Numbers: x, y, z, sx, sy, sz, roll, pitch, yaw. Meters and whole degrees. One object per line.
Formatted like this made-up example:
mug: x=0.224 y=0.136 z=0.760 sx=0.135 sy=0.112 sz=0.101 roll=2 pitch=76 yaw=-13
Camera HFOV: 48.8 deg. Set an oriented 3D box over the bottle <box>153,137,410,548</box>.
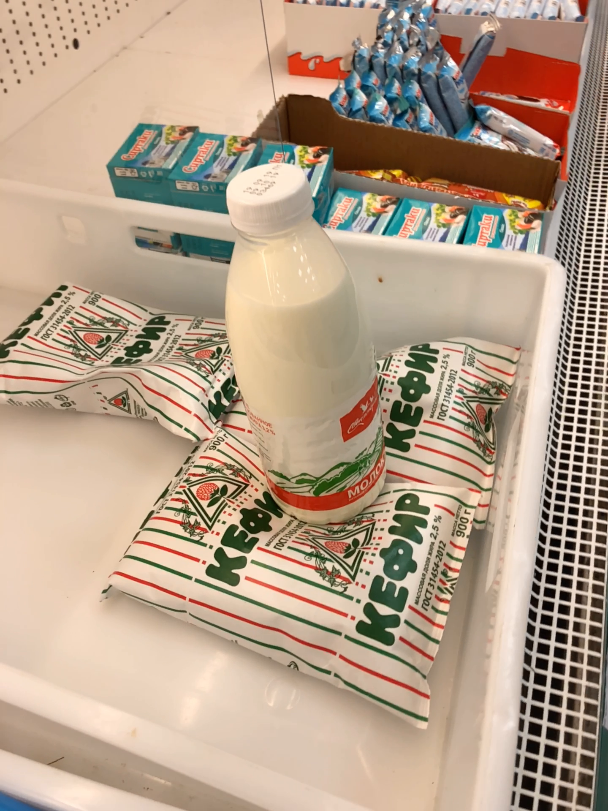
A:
bottle: x=0.002 y=-0.026 z=0.389 sx=0.085 sy=0.216 sz=0.085 roll=-5 pitch=45 yaw=5
